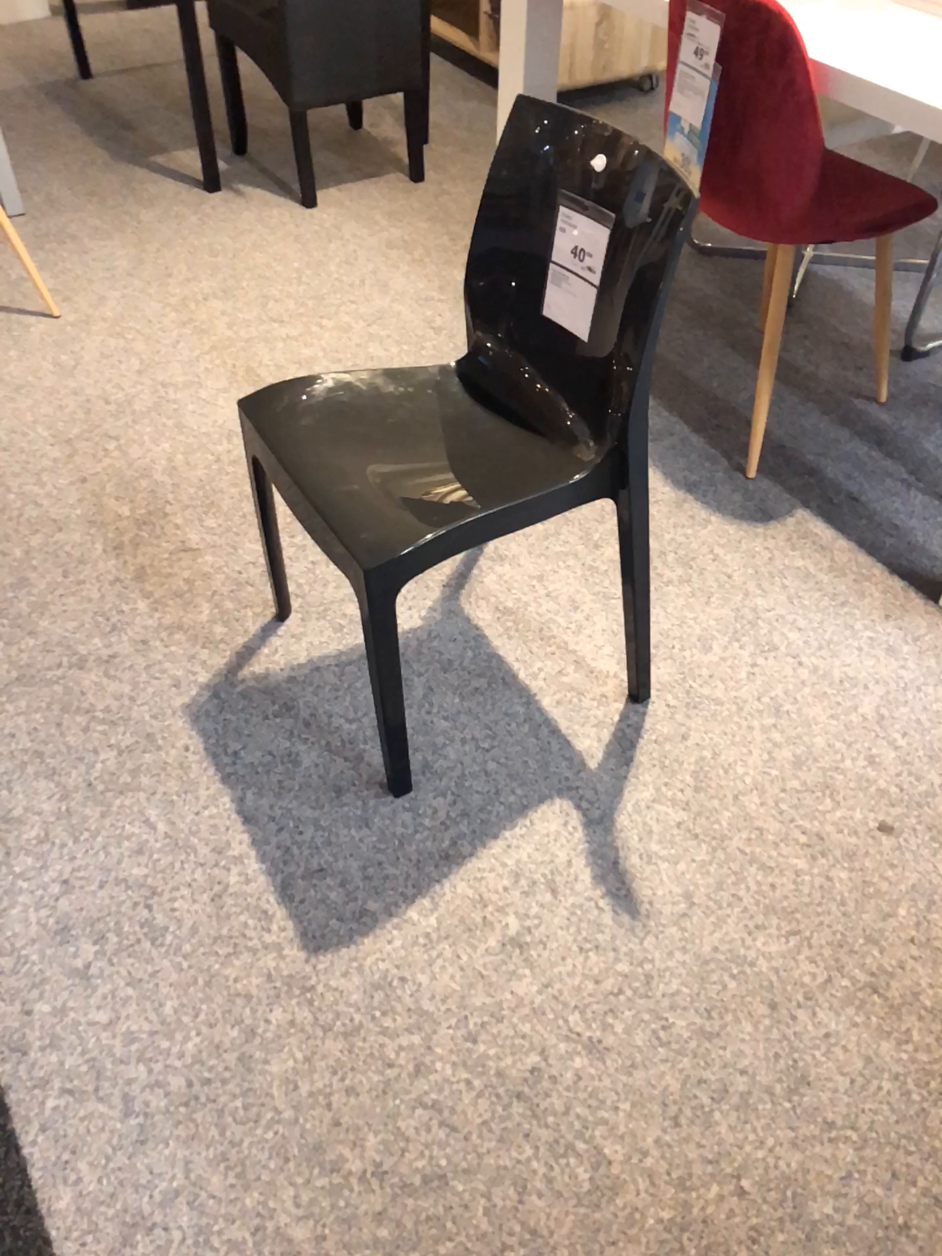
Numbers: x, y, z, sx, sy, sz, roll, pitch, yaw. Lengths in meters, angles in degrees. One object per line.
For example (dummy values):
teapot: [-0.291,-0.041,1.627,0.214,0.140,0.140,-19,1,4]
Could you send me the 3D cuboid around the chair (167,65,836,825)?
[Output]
chair: [0.007,-0.259,1.435,0.572,0.765,0.521,-23,50,-25]
